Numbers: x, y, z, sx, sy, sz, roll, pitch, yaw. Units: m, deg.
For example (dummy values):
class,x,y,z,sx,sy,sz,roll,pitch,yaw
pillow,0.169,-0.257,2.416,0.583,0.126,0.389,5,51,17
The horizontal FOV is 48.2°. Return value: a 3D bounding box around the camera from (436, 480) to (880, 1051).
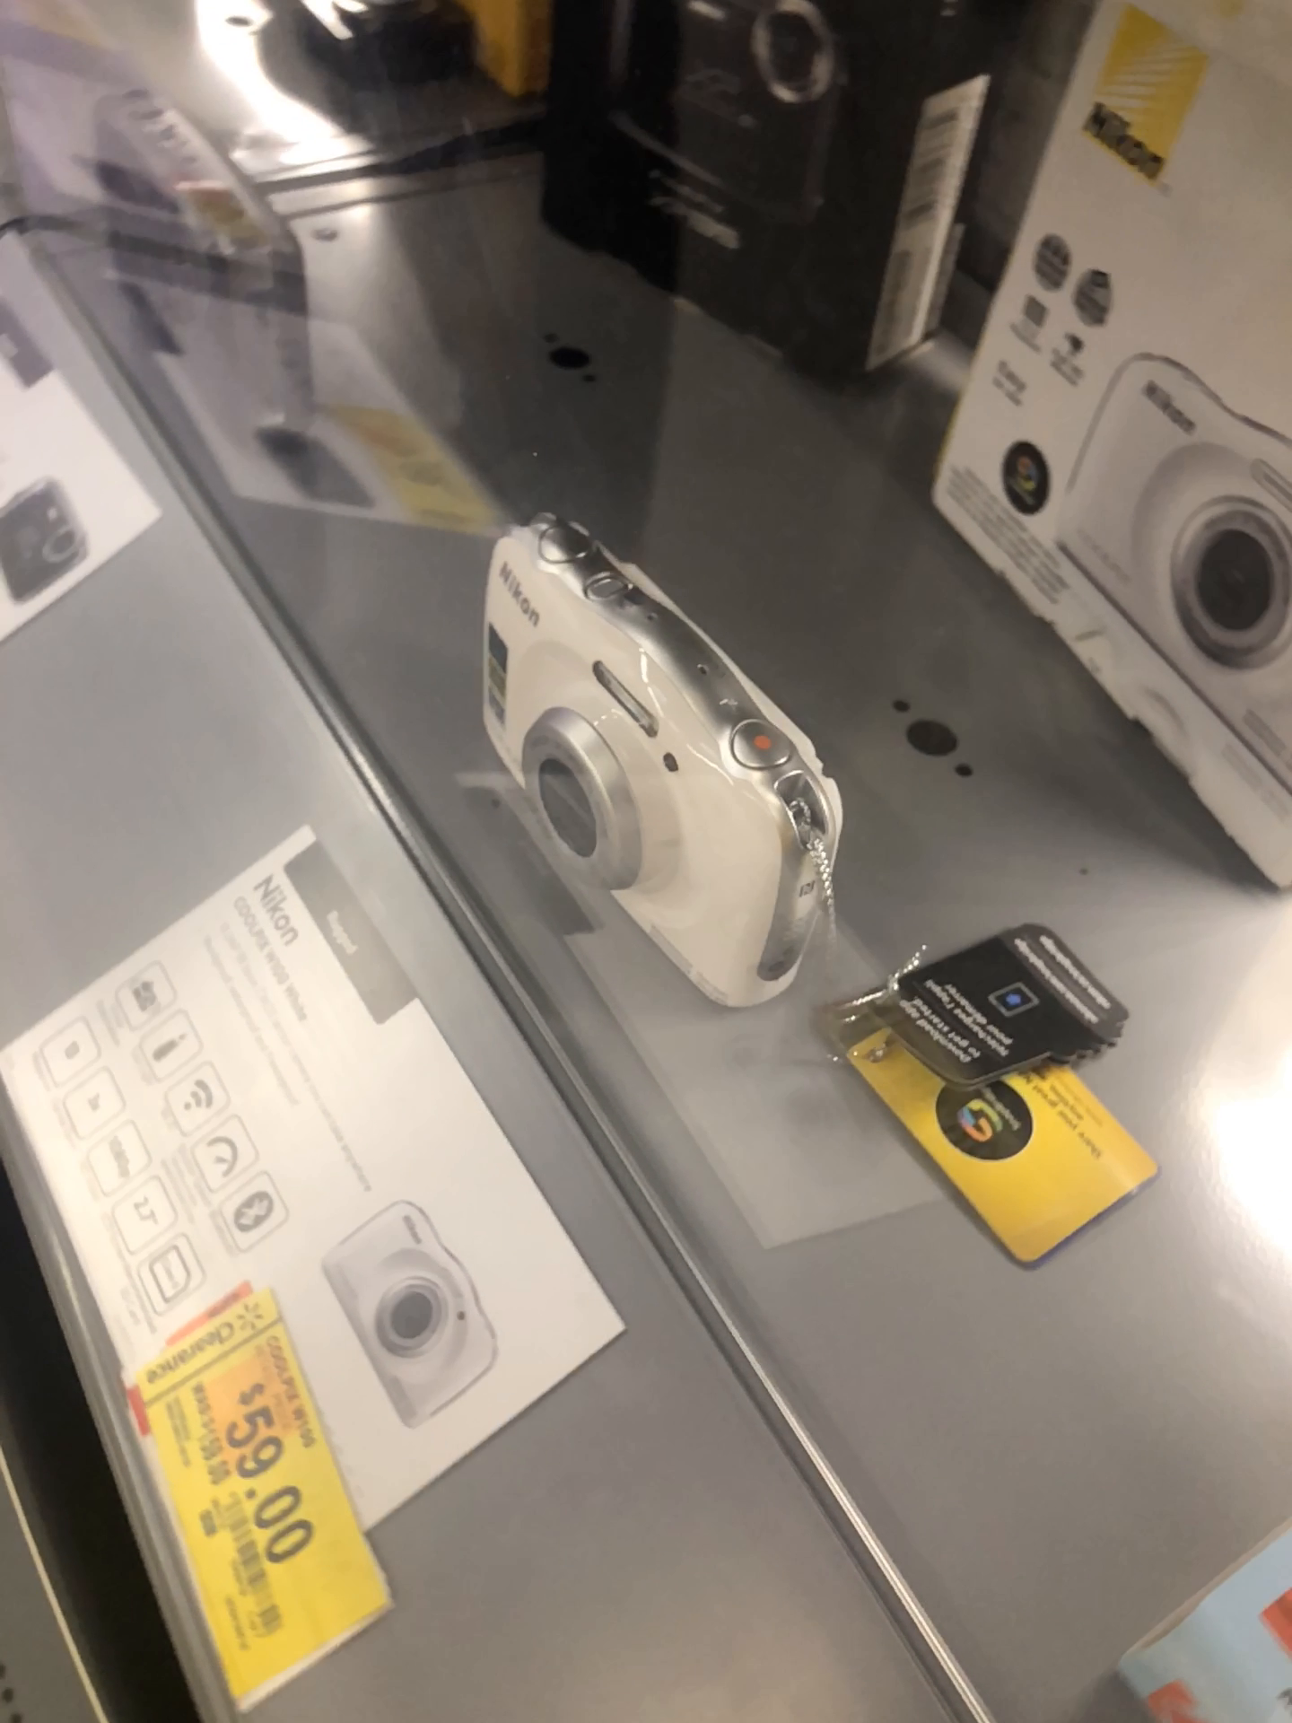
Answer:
class,x,y,z,sx,sy,sz,roll,pitch,yaw
camera,-0.004,-0.023,0.307,0.030,0.060,0.110,-25,57,-25
